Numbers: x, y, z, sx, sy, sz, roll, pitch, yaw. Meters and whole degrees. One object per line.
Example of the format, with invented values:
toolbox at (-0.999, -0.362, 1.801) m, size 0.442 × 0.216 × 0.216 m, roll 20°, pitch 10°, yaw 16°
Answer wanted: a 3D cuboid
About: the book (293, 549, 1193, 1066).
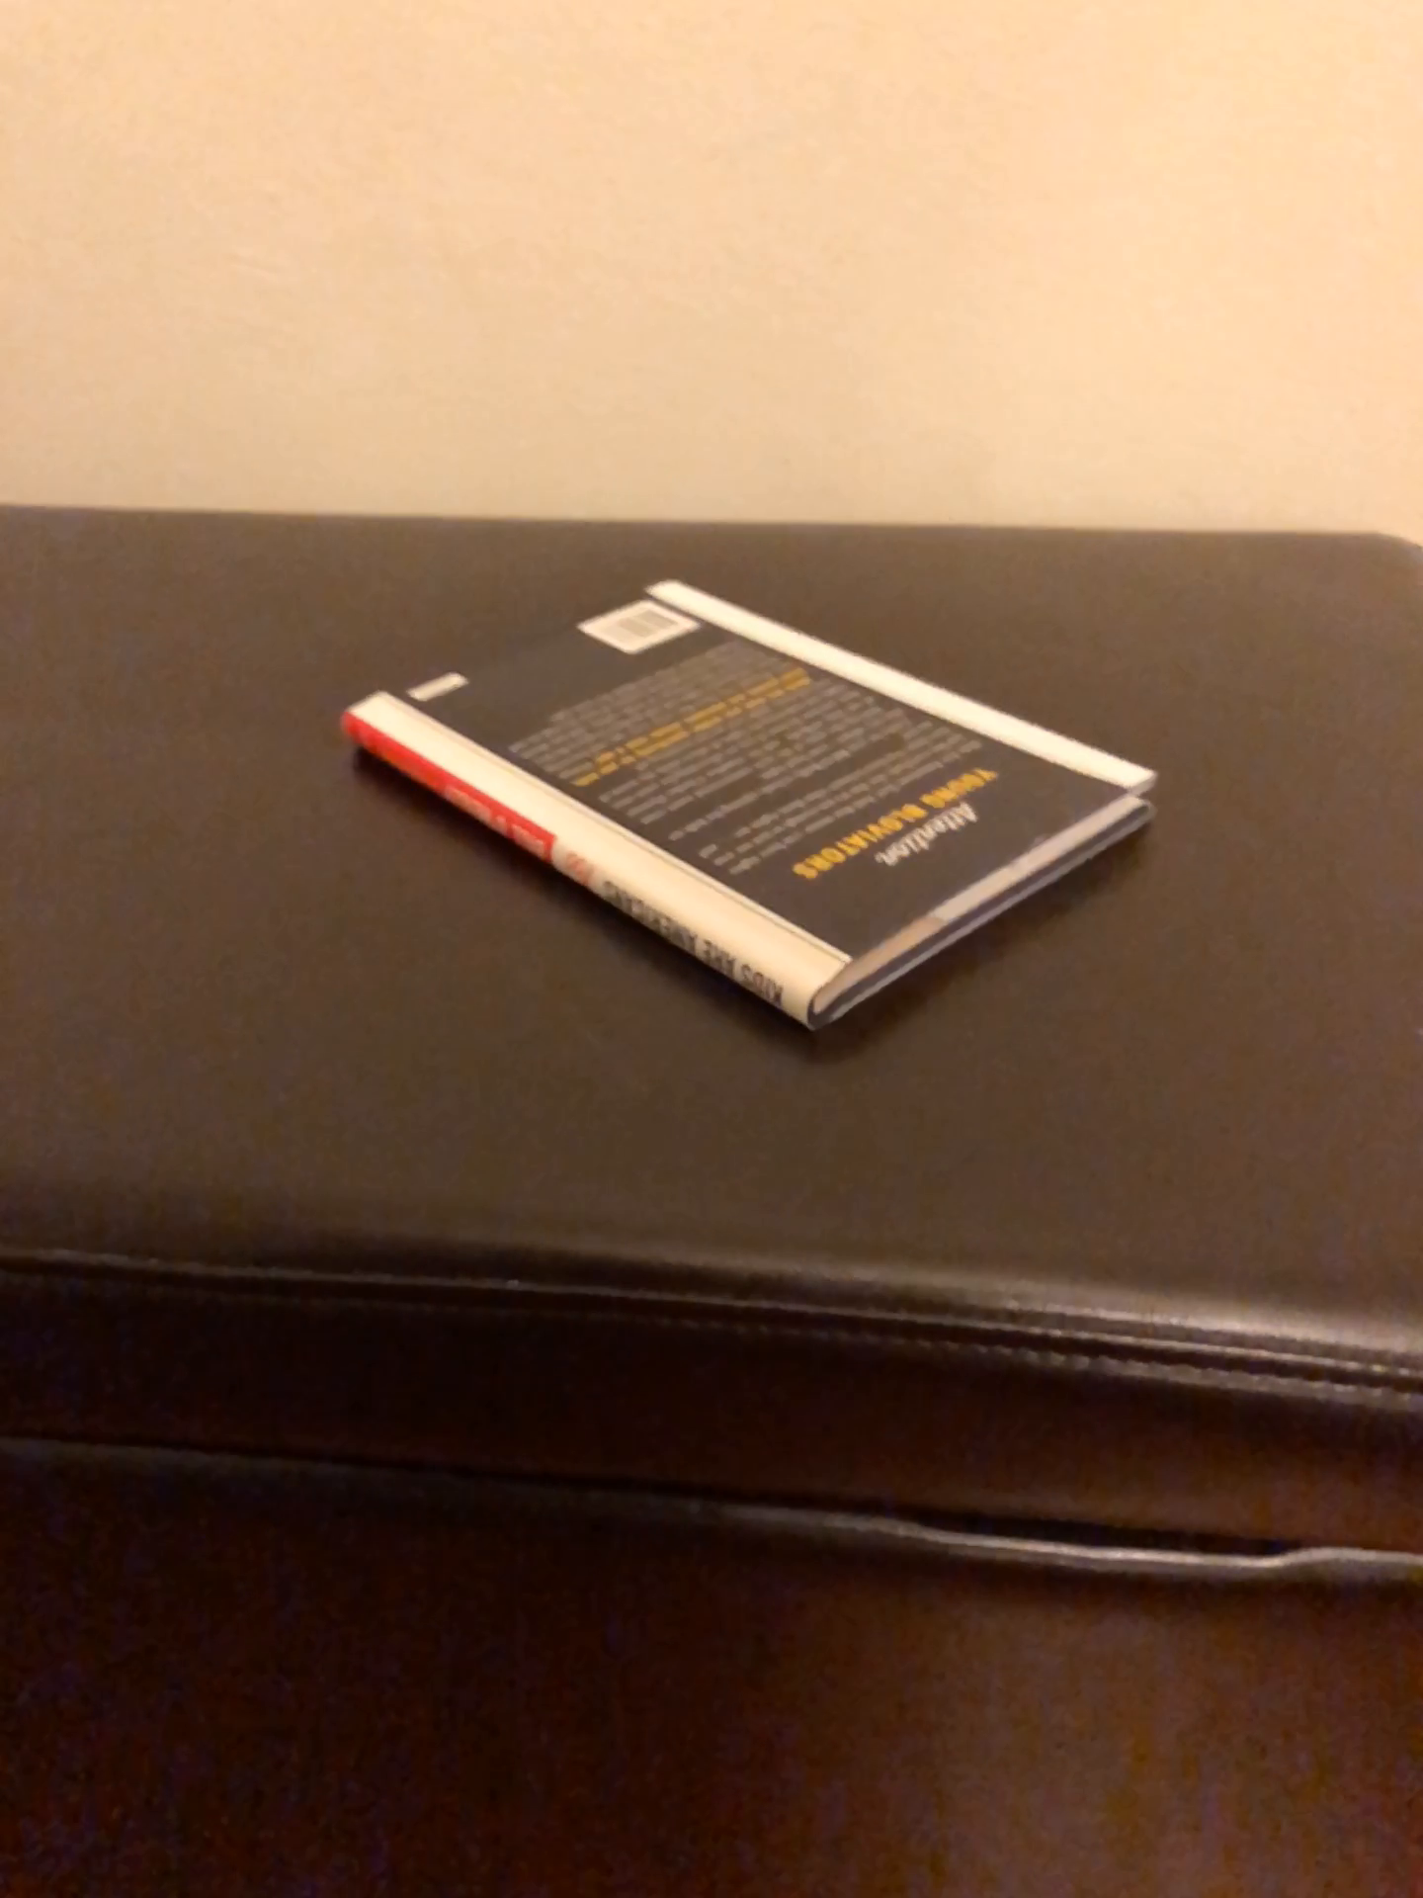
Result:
book at (0.003, -0.061, 0.491) m, size 0.161 × 0.020 × 0.231 m, roll -30°, pitch 44°, yaw -33°
